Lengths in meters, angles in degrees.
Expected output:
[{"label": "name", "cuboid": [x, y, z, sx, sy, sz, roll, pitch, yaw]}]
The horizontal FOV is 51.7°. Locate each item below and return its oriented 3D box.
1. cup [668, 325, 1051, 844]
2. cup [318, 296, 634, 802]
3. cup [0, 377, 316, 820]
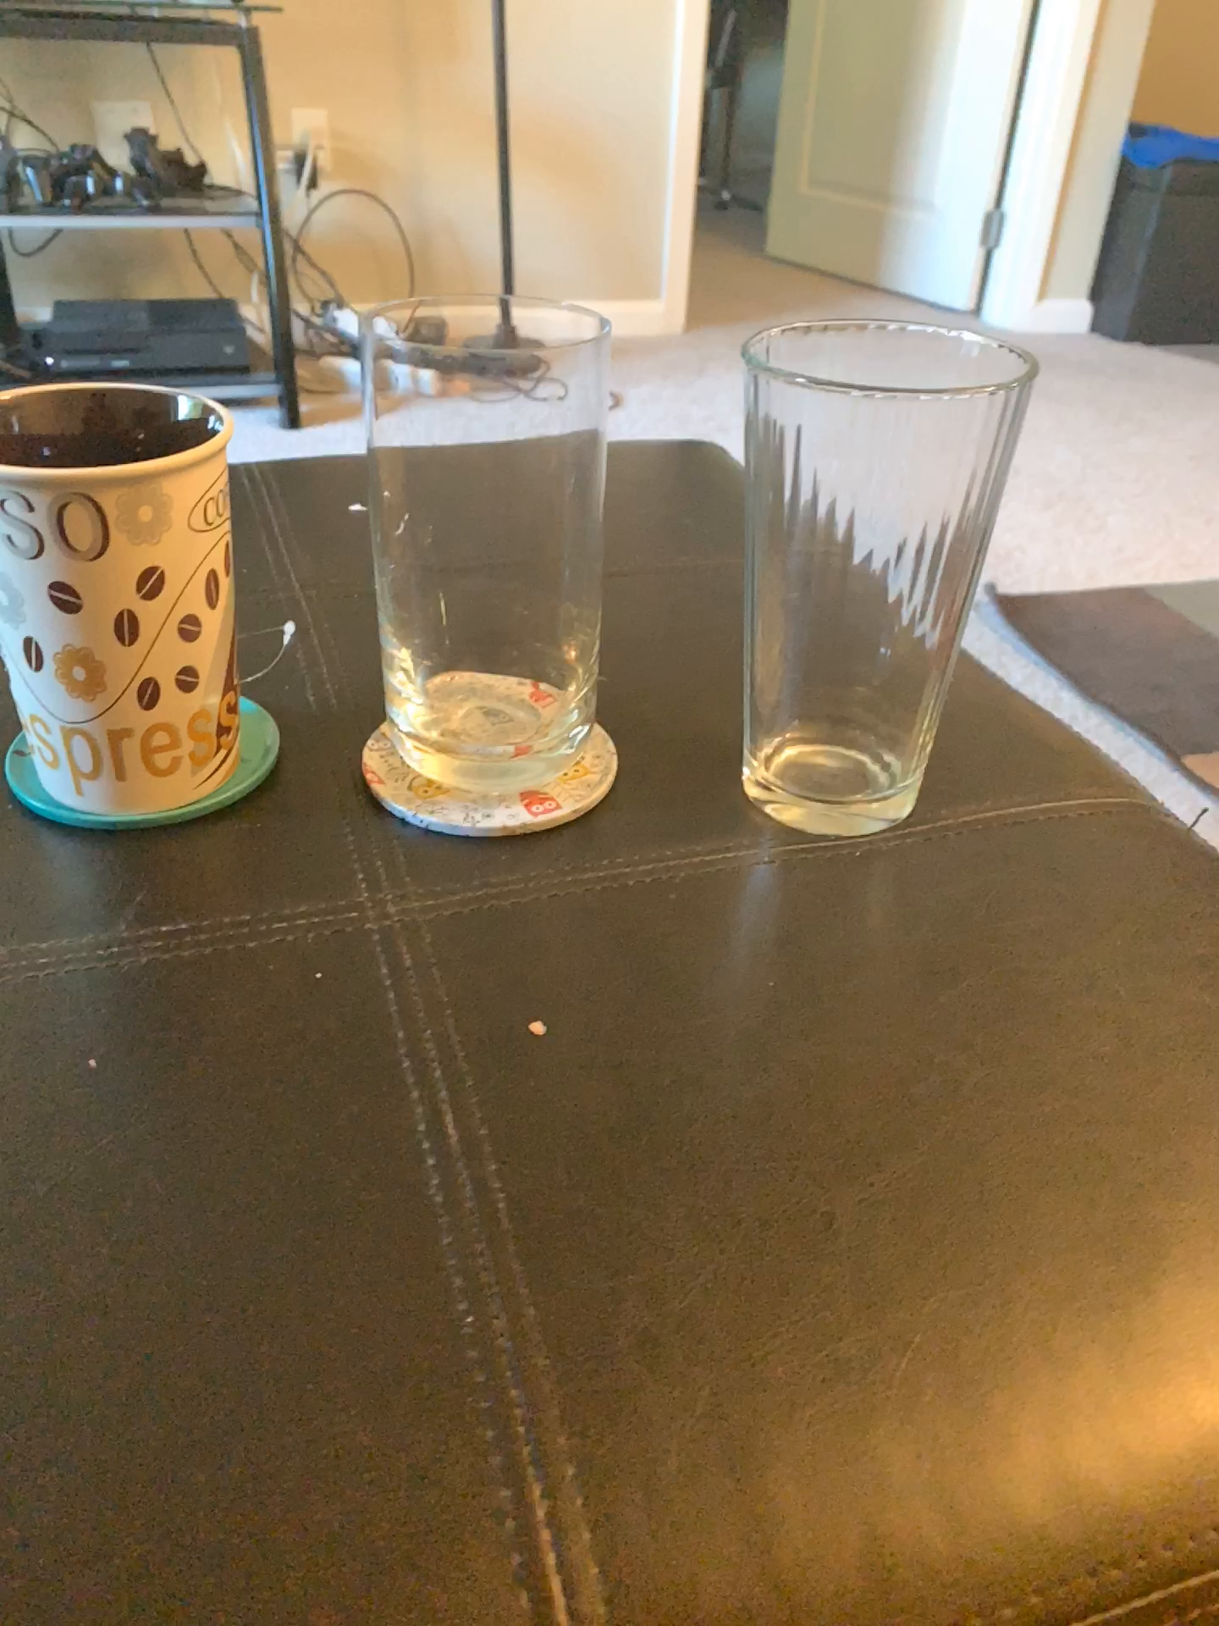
[{"label": "cup", "cuboid": [0.069, -0.072, 0.399, 0.080, 0.139, 0.081, 2, 33, -1]}, {"label": "cup", "cuboid": [-0.037, -0.081, 0.388, 0.080, 0.129, 0.081, 2, 33, -1]}, {"label": "cup", "cuboid": [-0.151, -0.068, 0.385, 0.090, 0.099, 0.091, 2, 33, -1]}]
